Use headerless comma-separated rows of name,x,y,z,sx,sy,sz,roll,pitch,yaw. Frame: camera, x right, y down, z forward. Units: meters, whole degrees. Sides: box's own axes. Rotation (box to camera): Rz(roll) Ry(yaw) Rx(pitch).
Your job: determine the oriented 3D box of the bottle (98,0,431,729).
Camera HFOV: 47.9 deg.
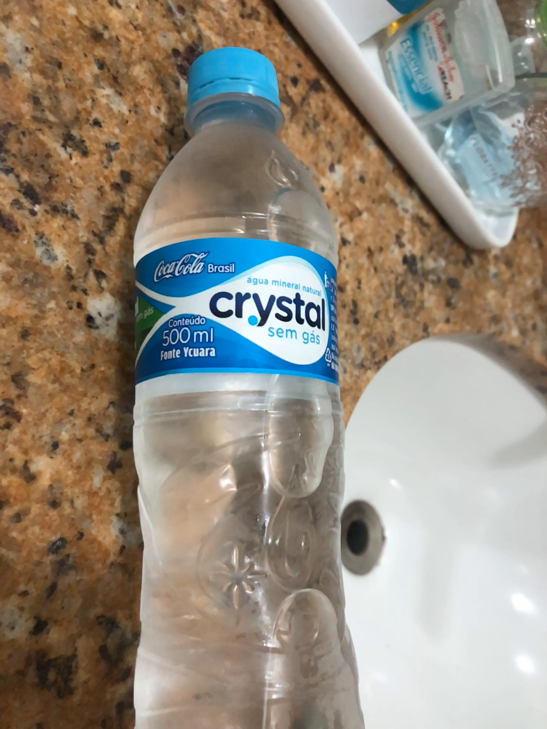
bottle,-0.006,0.006,0.178,0.070,0.050,0.230,7,77,-43
